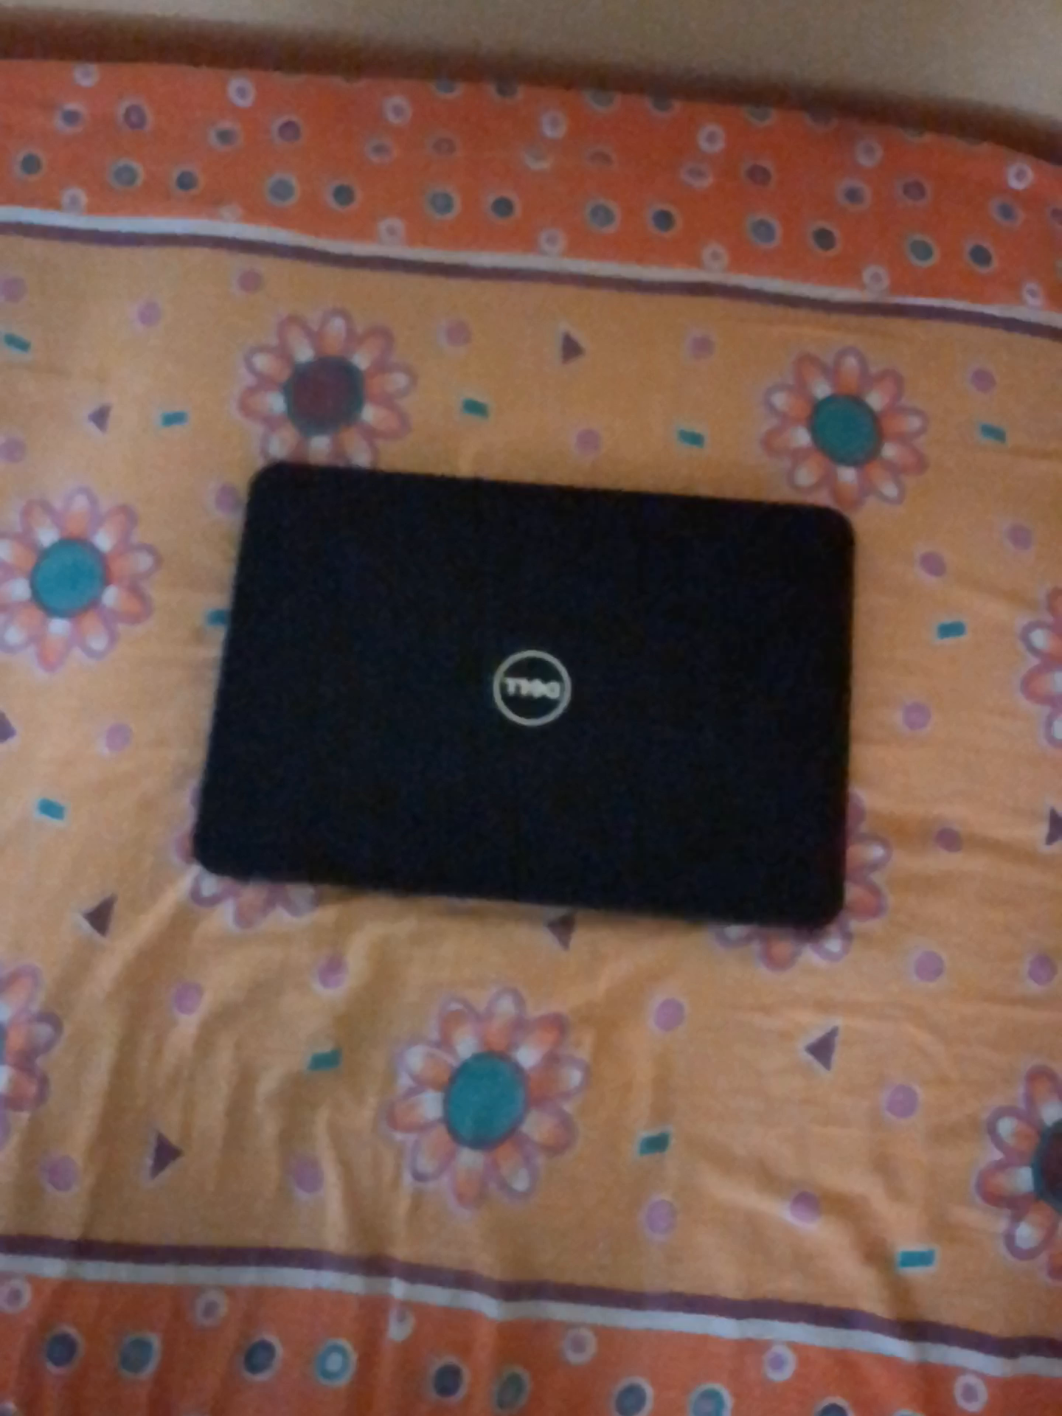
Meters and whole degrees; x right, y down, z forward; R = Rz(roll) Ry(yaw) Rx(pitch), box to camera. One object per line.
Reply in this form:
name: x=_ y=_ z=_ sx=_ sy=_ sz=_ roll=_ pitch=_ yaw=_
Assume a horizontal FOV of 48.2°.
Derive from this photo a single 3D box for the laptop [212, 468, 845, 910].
laptop: x=0.004 y=-0.017 z=0.700 sx=0.358 sy=0.001 sz=0.236 roll=5 pitch=78 yaw=2
